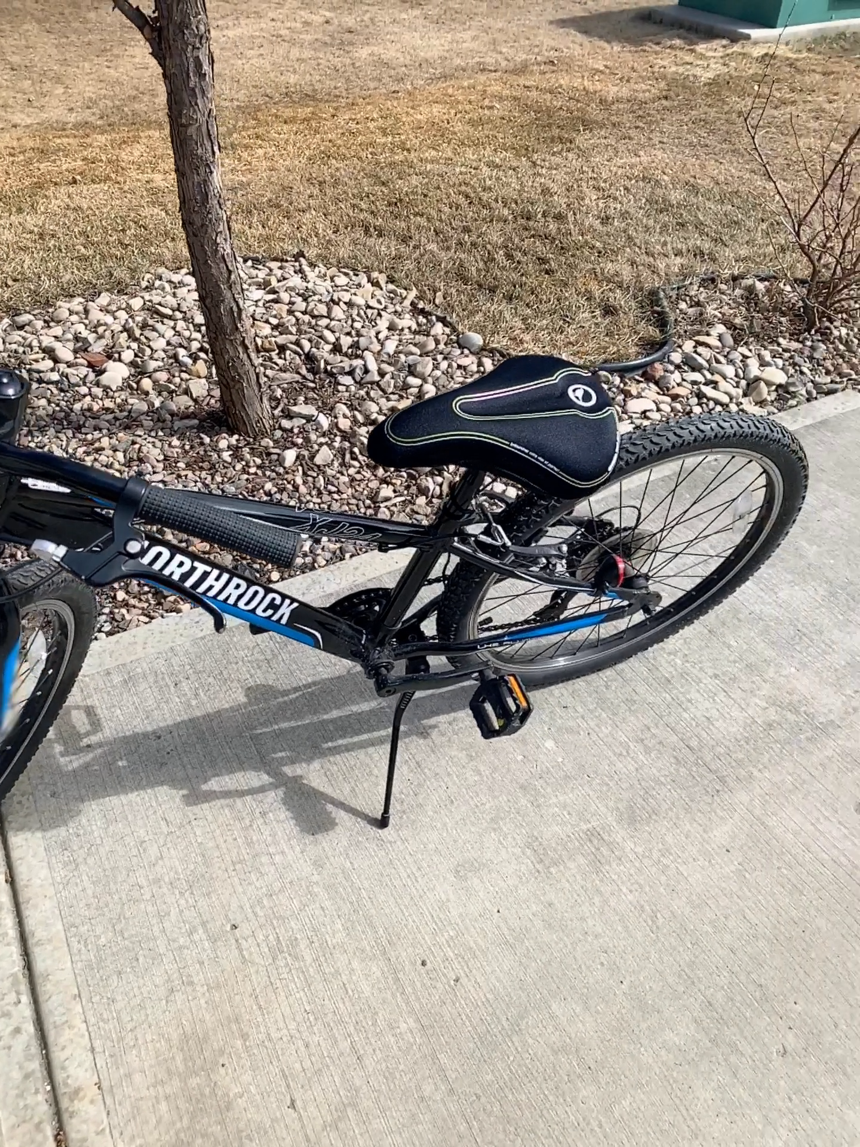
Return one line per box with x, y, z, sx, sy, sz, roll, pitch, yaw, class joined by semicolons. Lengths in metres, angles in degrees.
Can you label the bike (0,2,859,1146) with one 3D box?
-0.094;0.103;0.951;1.391;0.885;0.516;-23;47;-16;bike
